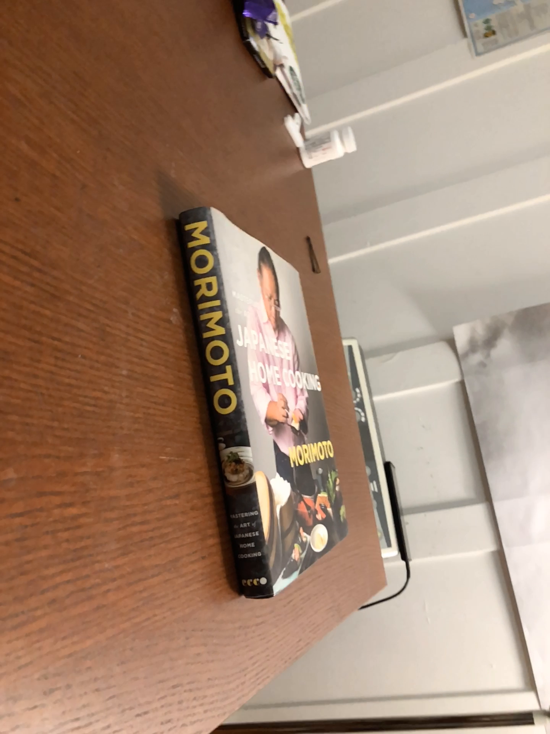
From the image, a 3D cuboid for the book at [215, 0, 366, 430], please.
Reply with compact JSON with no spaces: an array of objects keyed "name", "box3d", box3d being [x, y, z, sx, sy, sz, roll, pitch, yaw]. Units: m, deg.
[{"name":"book","box3d":[0.015,-0.127,0.499,0.220,0.030,0.301,49,33,-55]}]
